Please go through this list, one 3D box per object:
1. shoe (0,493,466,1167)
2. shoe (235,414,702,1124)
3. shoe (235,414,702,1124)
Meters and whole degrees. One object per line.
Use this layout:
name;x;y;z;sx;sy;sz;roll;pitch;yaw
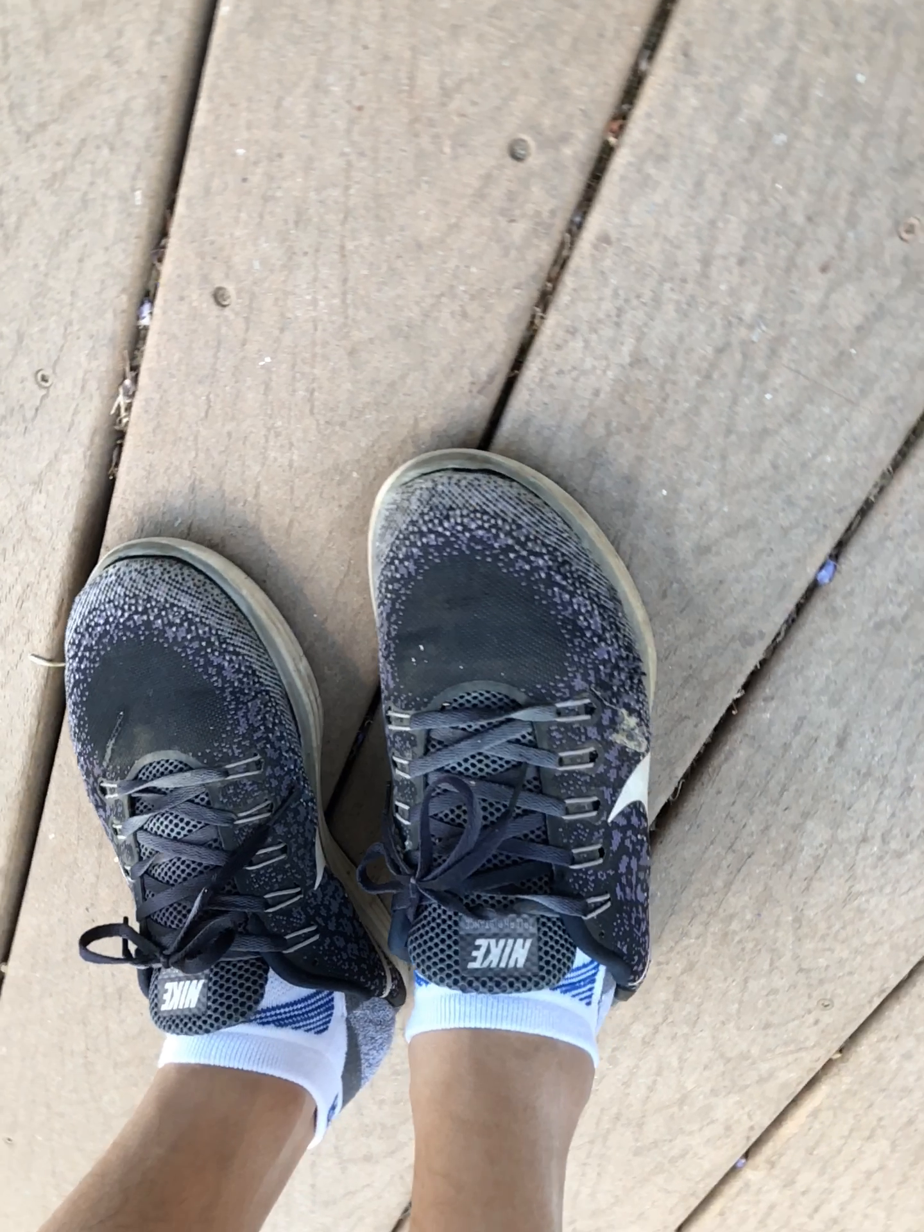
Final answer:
shoe;-0.101;0.110;0.470;0.120;0.090;0.301;-10;113;15
shoe;0.020;0.071;0.419;0.120;0.100;0.271;-7;114;14
shoe;0.020;0.071;0.419;0.120;0.100;0.271;-7;114;14
